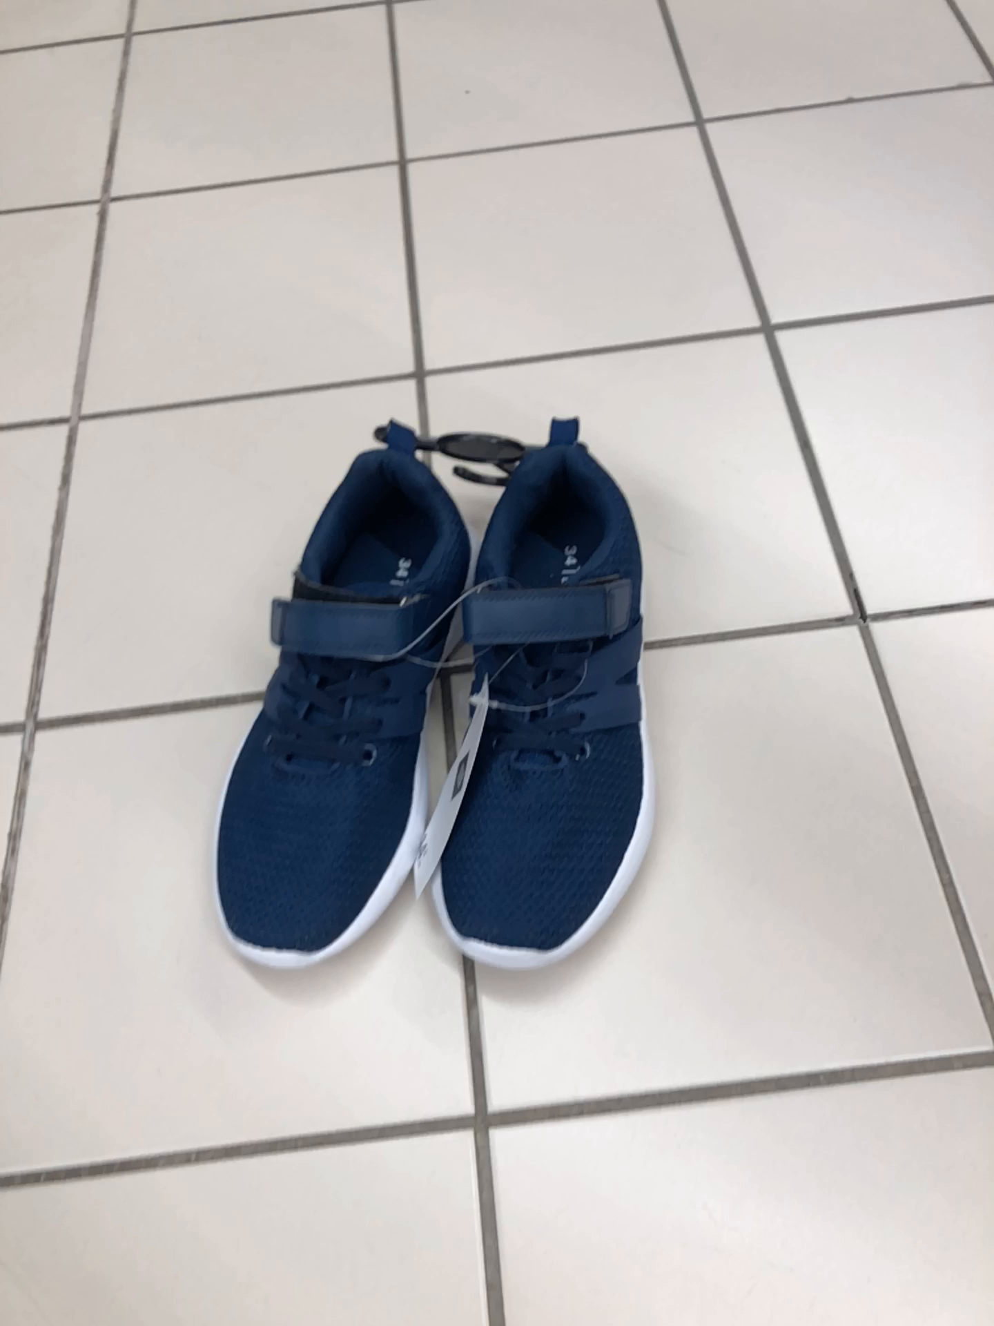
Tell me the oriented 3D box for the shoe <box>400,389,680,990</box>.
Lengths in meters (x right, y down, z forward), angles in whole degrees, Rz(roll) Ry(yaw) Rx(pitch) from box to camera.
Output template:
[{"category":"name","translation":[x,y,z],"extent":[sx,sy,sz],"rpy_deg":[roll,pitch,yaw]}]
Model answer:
[{"category":"shoe","translation":[0.025,0.004,0.466],"extent":[0.093,0.095,0.239],"rpy_deg":[1,58,5]}]

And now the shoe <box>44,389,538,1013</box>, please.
[{"category":"shoe","translation":[-0.070,0.008,0.473],"extent":[0.102,0.094,0.237],"rpy_deg":[15,61,13]}]
